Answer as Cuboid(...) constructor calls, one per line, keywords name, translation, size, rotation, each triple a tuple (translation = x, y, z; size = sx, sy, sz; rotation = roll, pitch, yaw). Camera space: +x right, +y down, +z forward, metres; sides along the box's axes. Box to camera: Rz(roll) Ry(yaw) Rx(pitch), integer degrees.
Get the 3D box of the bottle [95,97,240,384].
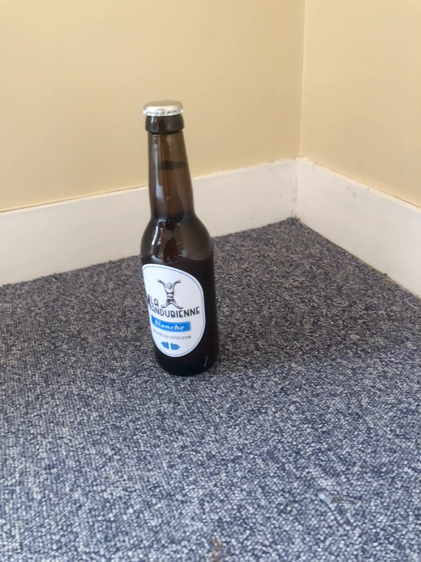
Cuboid(name="bottle", translation=(-0.023, -0.028, 0.366), size=(0.070, 0.209, 0.070), rotation=(-3, 30, 2))
